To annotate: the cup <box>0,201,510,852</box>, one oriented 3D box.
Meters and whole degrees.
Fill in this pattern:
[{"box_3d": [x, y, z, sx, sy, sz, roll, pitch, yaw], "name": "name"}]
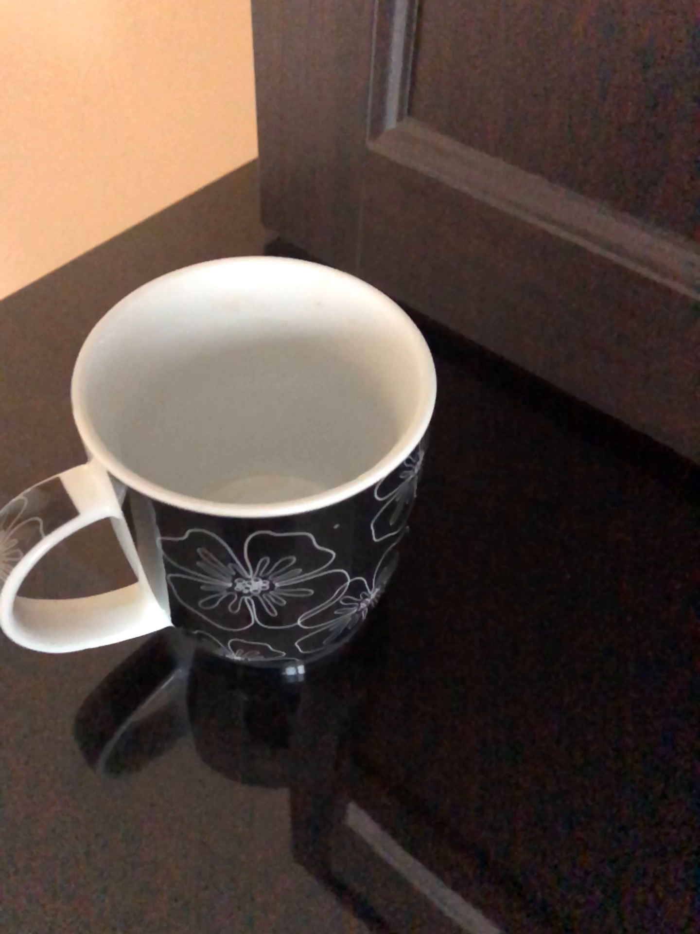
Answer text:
[{"box_3d": [-0.041, 0.010, 0.204, 0.120, 0.089, 0.090, -29, 58, -24], "name": "cup"}]
